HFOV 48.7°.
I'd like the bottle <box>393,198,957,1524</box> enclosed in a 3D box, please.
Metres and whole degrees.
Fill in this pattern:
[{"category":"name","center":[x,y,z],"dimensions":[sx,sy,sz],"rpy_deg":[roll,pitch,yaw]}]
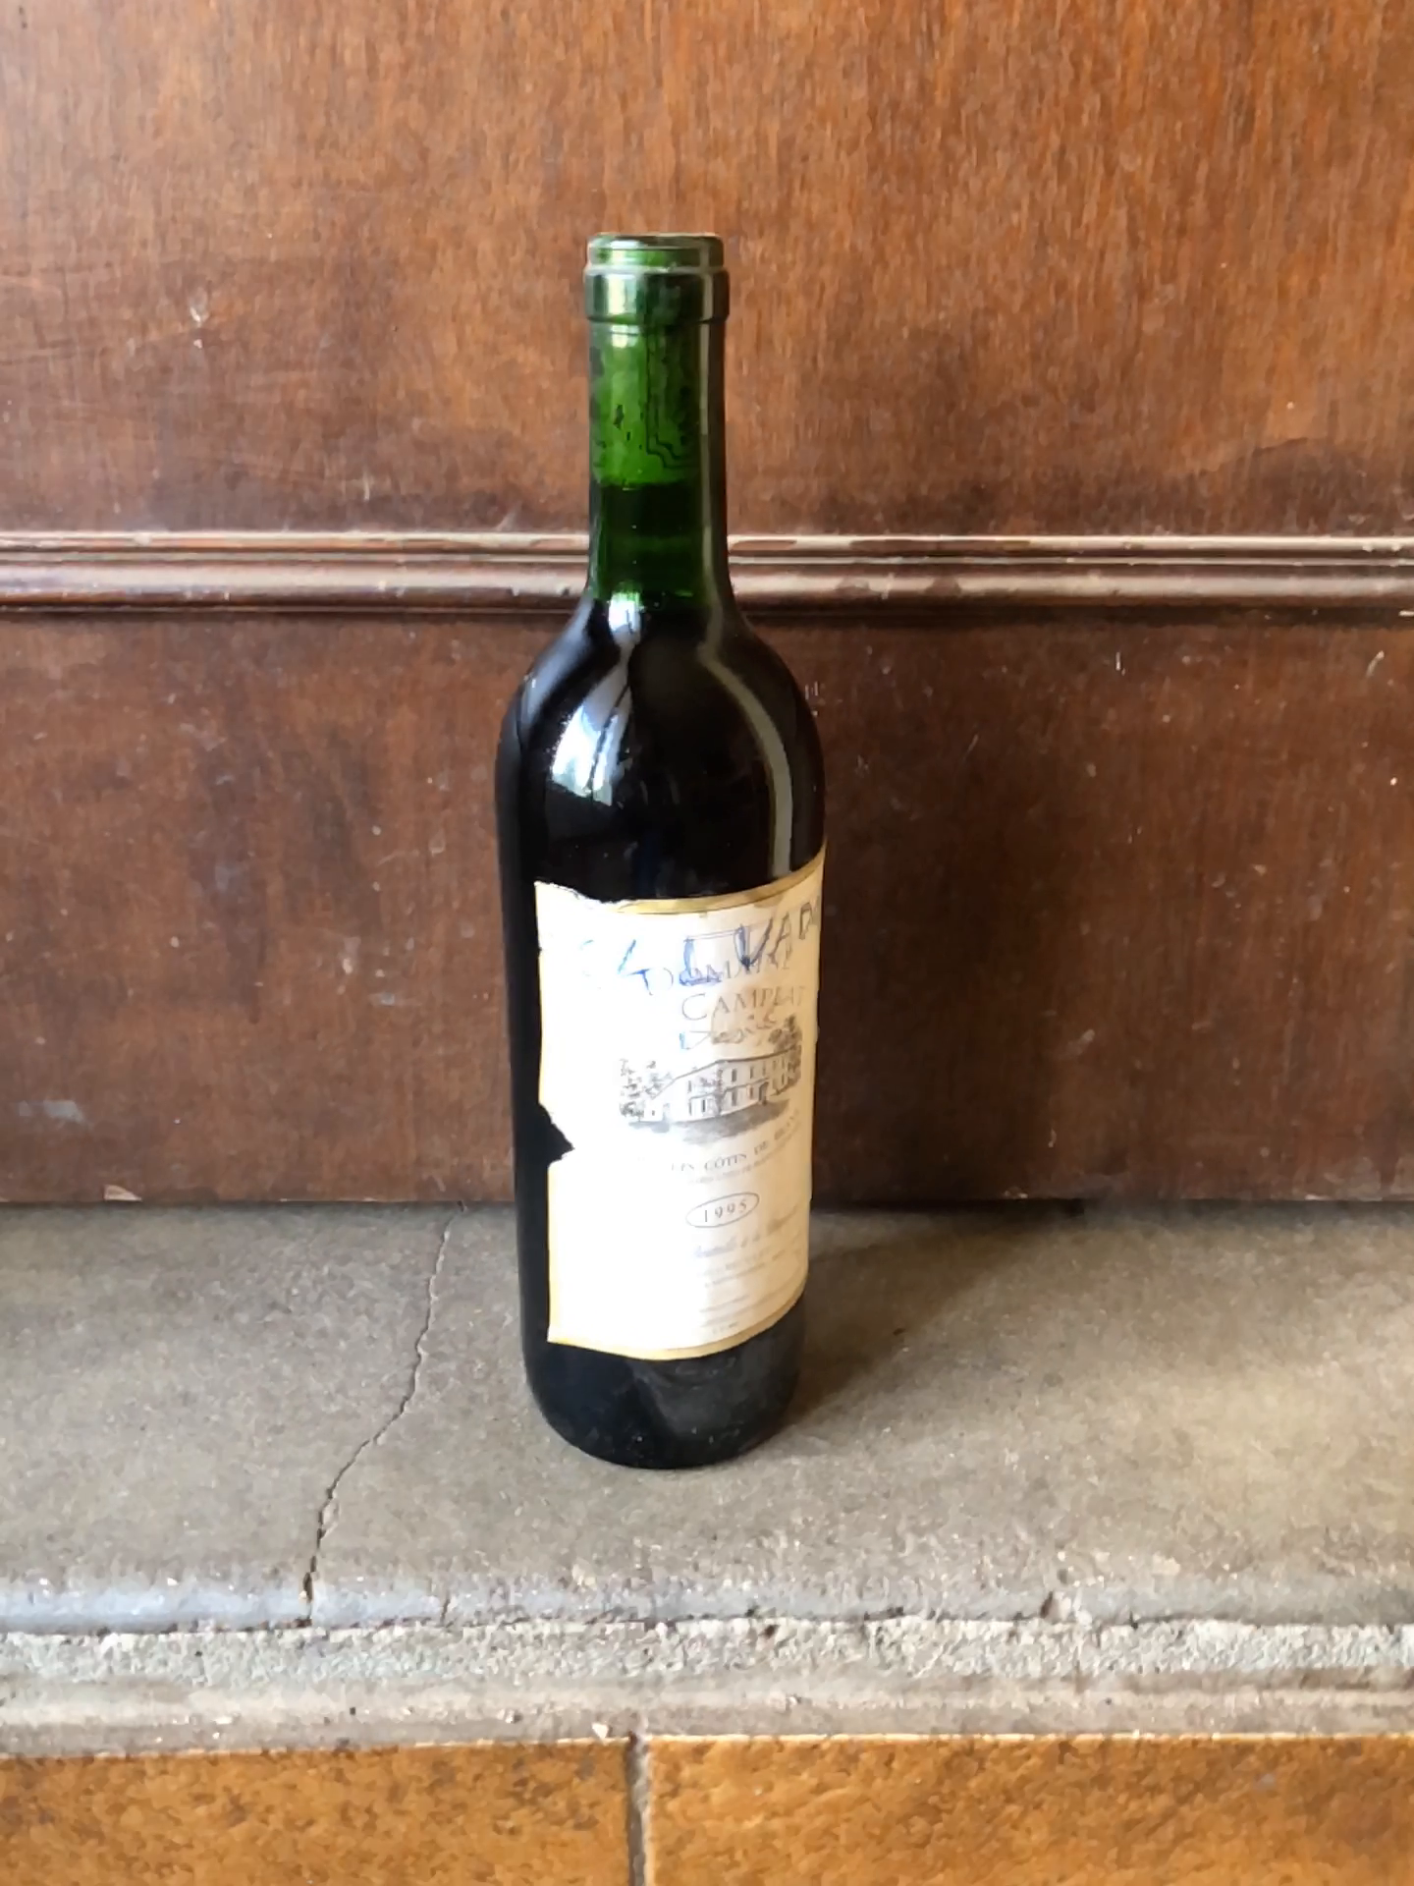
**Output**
[{"category":"bottle","center":[-0.010,-0.015,0.355],"dimensions":[0.080,0.278,0.080],"rpy_deg":[0,25,0]}]
